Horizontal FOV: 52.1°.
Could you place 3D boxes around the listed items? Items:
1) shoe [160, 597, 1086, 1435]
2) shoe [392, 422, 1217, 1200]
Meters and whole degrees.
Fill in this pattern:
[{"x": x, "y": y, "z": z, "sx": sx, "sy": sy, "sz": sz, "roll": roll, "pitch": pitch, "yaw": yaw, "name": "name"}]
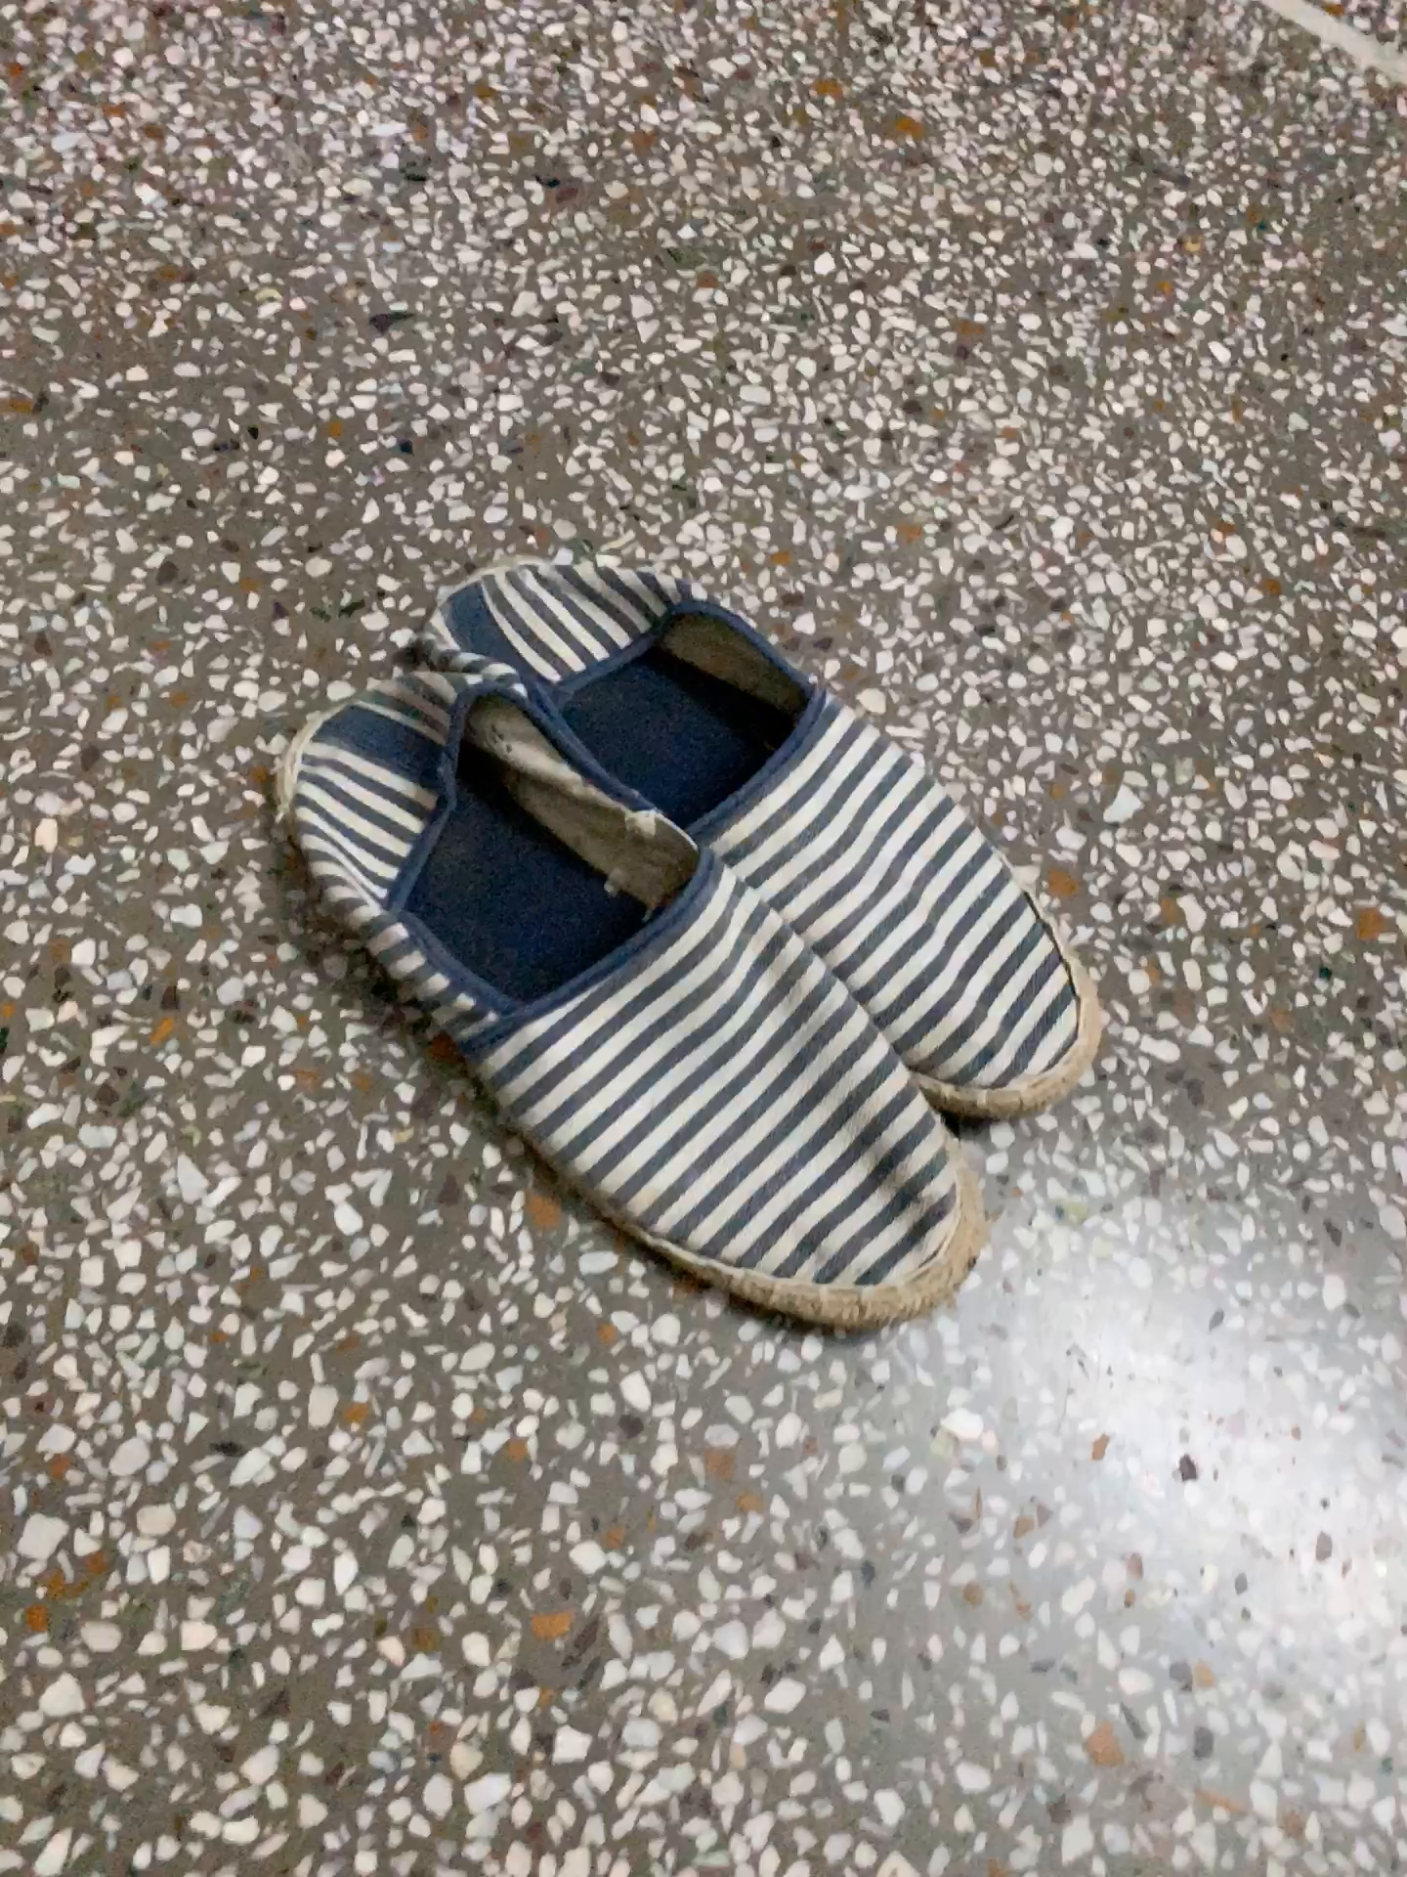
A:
[{"x": -0.030, "y": 0.019, "z": 0.464, "sx": 0.290, "sy": 0.050, "sz": 0.100, "roll": 39, "pitch": 68, "yaw": 10, "name": "shoe"}, {"x": 0.028, "y": -0.051, "z": 0.506, "sx": 0.290, "sy": 0.050, "sz": 0.100, "roll": 44, "pitch": 69, "yaw": 12, "name": "shoe"}]
